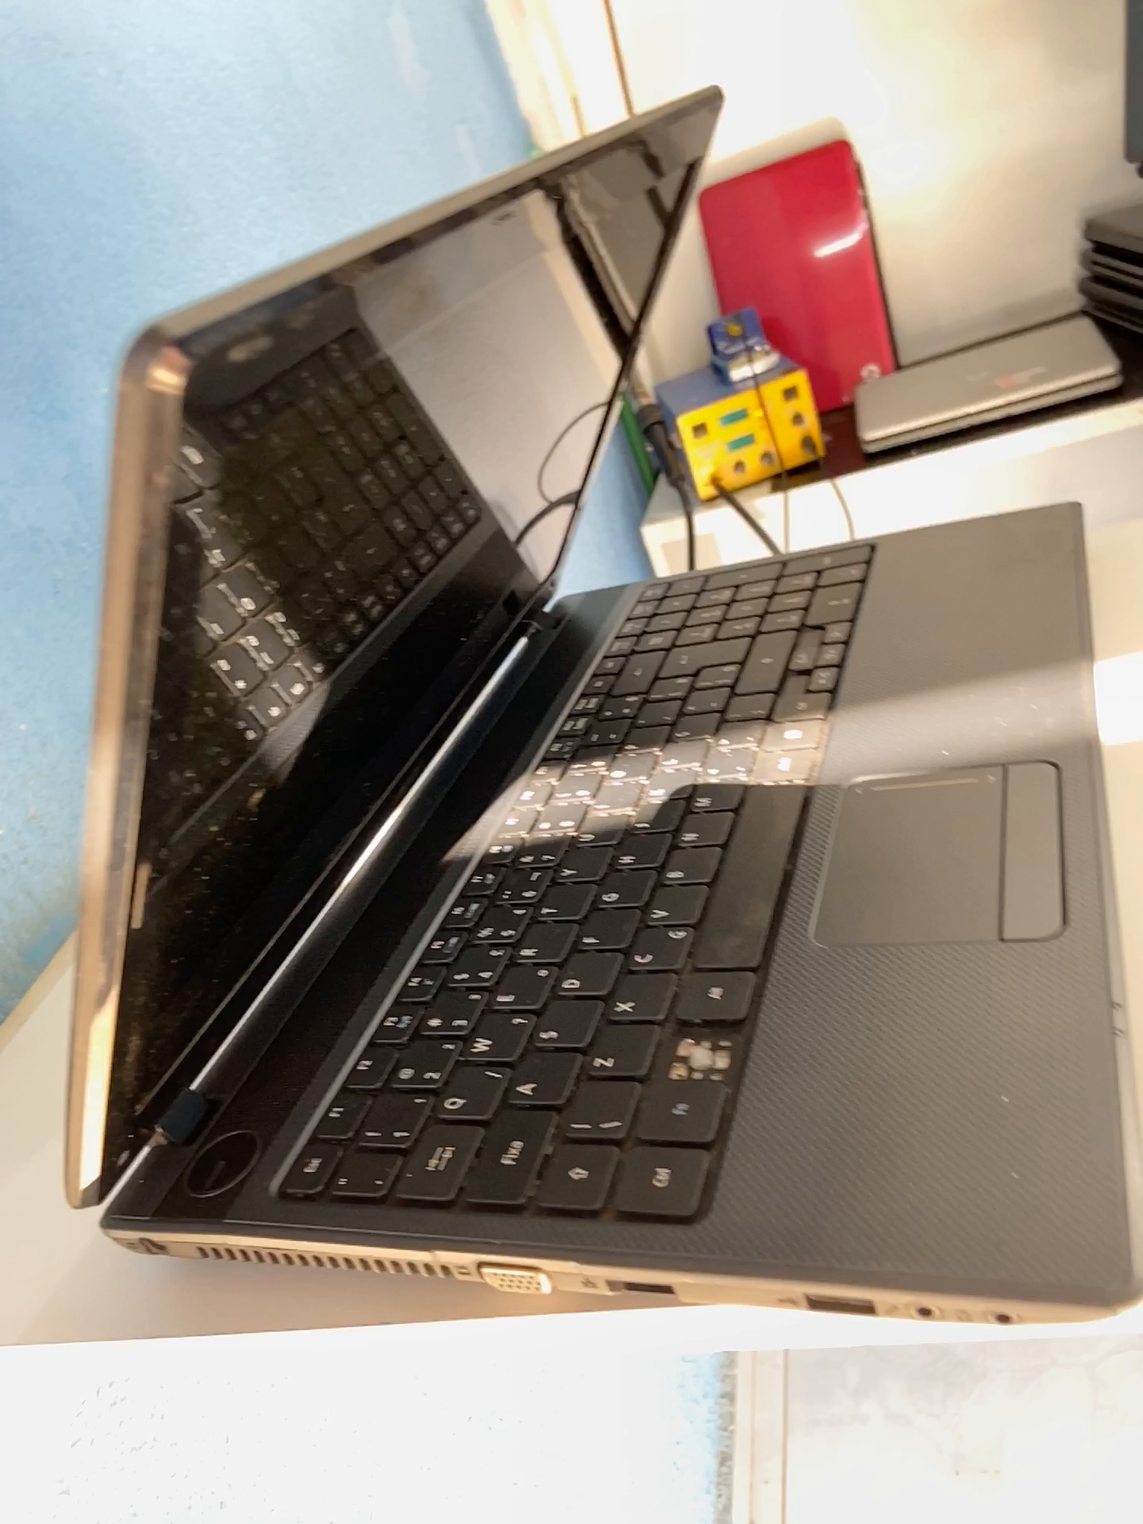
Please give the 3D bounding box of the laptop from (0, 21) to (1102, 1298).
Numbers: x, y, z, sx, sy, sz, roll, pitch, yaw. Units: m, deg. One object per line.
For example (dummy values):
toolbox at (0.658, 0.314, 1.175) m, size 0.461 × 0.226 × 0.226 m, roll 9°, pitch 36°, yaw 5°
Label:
laptop at (0.008, -0.071, 0.369) m, size 0.247 × 0.191 × 0.378 m, roll -8°, pitch 29°, yaw 26°
